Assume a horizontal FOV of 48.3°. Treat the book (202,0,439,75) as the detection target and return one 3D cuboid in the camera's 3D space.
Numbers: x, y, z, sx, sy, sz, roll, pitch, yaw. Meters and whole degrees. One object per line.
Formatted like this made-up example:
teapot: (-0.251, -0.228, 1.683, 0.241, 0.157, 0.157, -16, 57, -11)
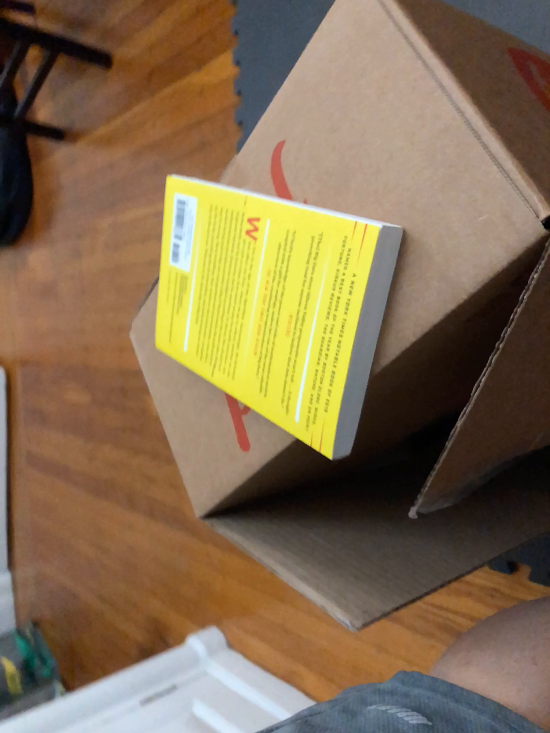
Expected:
book: (0.020, -0.324, 0.500, 0.221, 0.020, 0.150, 27, 114, 45)
